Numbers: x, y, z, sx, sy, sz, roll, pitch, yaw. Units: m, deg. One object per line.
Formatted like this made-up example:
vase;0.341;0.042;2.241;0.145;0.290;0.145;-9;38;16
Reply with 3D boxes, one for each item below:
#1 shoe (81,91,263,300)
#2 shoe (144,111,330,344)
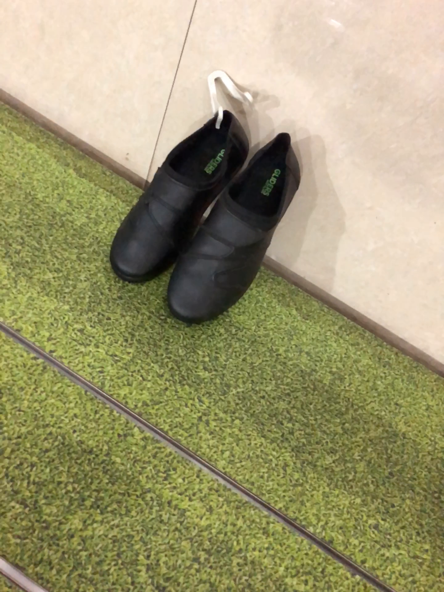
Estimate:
shoe;-0.053;-0.113;0.564;0.074;0.228;0.067;36;170;2
shoe;0.019;-0.073;0.589;0.087;0.248;0.107;31;175;5
